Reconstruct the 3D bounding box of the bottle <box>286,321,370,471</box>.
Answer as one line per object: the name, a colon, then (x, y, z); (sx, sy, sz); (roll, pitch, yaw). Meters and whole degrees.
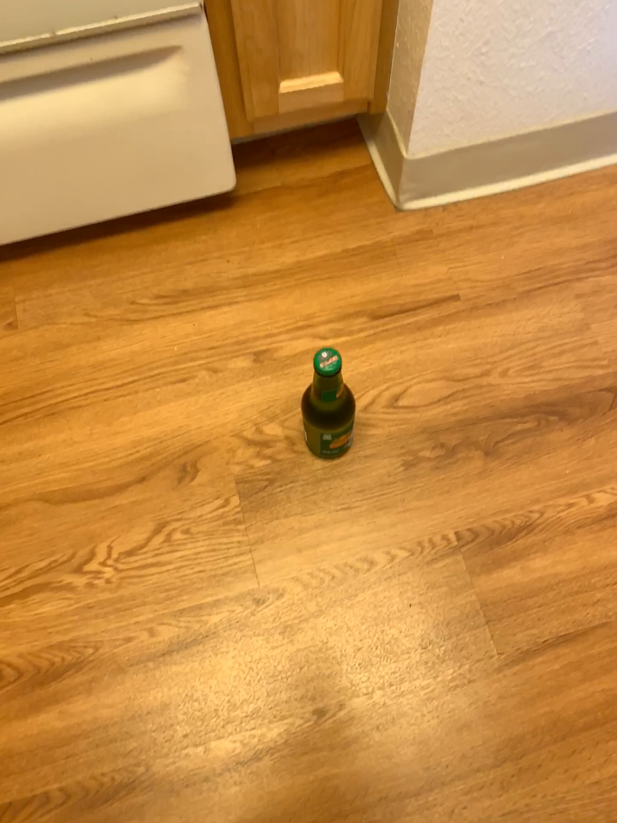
bottle: (0.021, -0.006, 0.688); (0.050, 0.230, 0.060); (-40, 72, -13)
